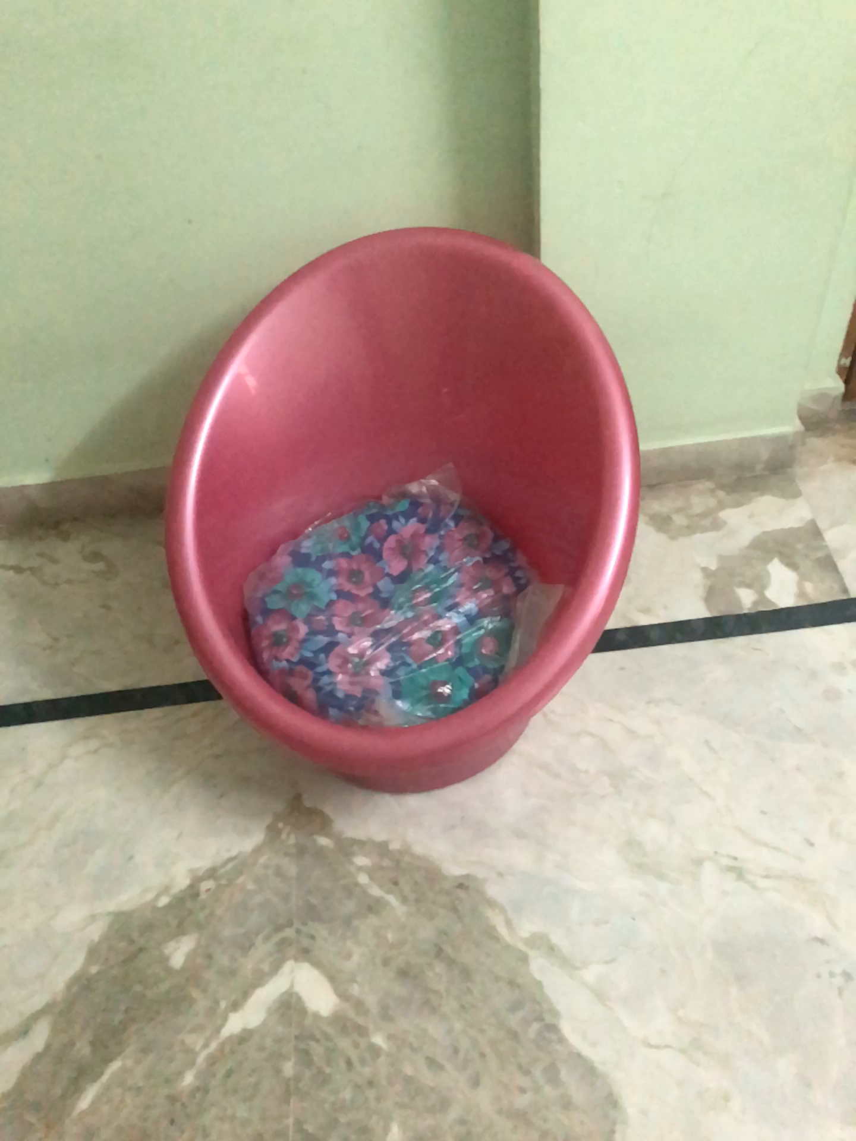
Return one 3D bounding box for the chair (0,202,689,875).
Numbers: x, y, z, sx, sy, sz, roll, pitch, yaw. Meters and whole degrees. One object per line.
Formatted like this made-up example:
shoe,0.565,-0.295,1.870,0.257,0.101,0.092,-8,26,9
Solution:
chair,-0.044,-0.081,1.349,0.641,0.547,0.663,13,51,18
